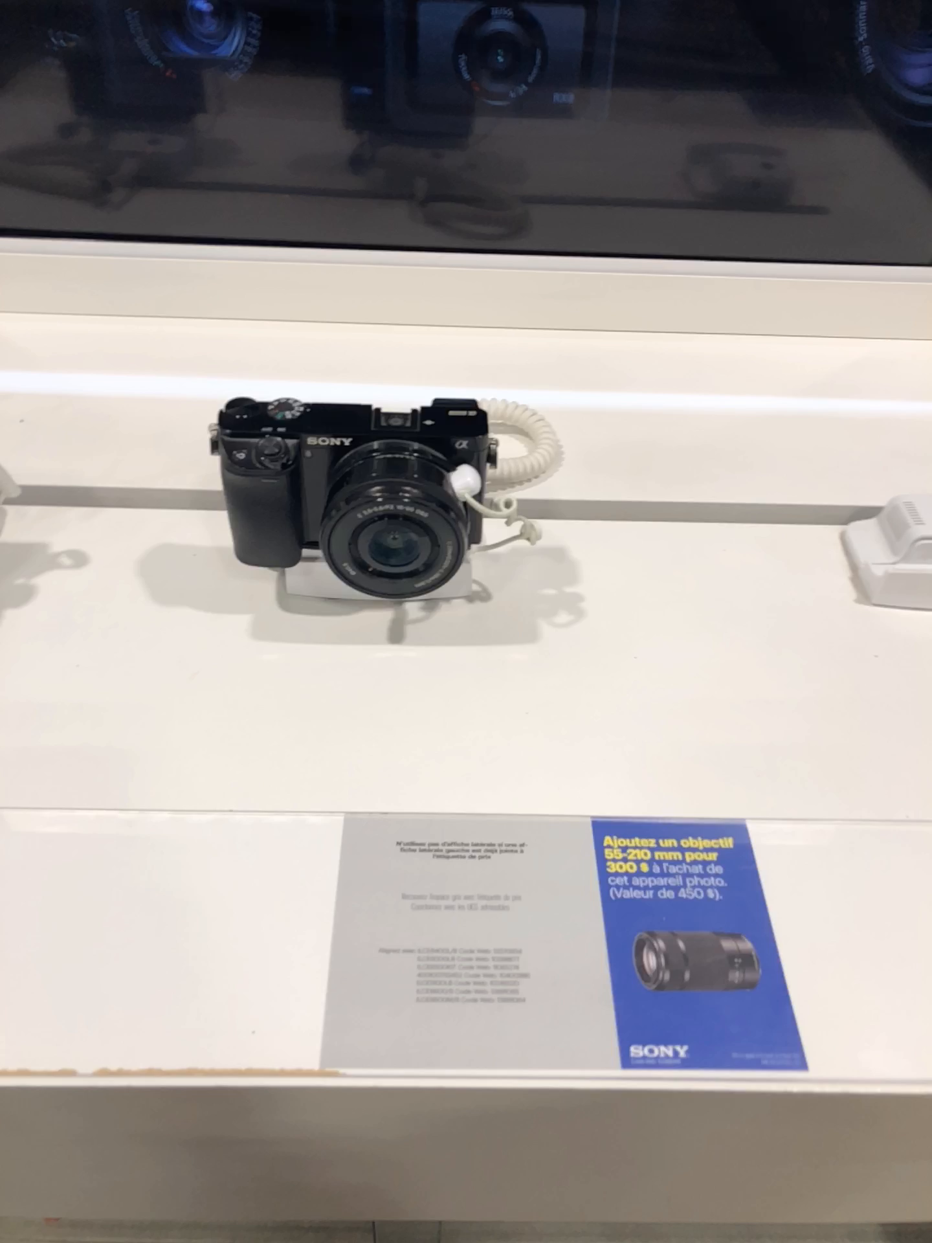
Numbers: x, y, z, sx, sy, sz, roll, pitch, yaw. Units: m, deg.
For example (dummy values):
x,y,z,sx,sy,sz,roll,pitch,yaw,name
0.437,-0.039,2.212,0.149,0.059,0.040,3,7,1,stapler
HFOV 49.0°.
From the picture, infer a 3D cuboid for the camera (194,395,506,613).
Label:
x,y,z,sx,sy,sz,roll,pitch,yaw,name
-0.050,-0.055,0.478,0.130,0.077,0.065,0,43,-2,camera
